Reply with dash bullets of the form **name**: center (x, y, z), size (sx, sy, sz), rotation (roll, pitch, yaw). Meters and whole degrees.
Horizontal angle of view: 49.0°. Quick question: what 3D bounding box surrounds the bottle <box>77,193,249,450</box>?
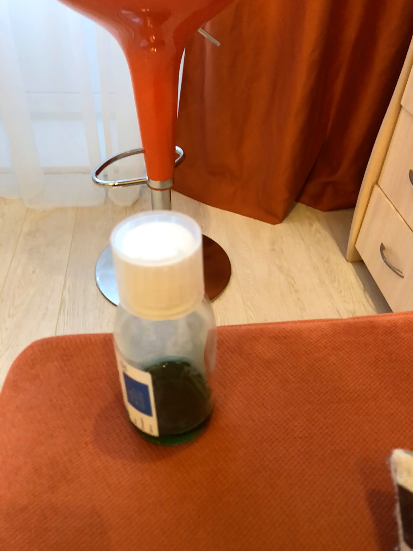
- **bottle**: center (-0.021, 0.024, 0.216), size (0.060, 0.106, 0.060), rotation (2, 41, -1)
